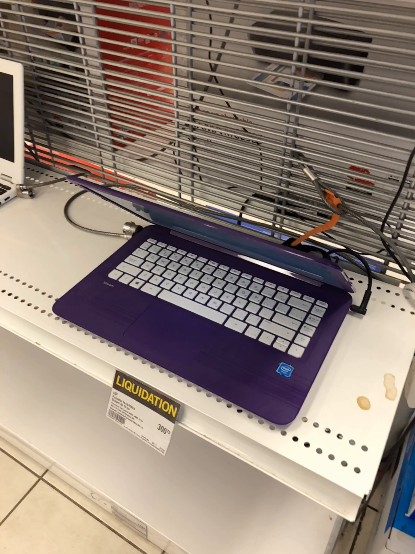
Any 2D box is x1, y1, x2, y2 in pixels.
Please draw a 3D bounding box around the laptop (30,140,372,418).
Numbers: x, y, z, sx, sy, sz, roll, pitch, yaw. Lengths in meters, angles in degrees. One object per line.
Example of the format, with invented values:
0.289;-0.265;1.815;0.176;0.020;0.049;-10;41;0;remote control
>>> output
-0.006;-0.021;0.540;0.305;0.138;0.206;21;48;23;laptop
